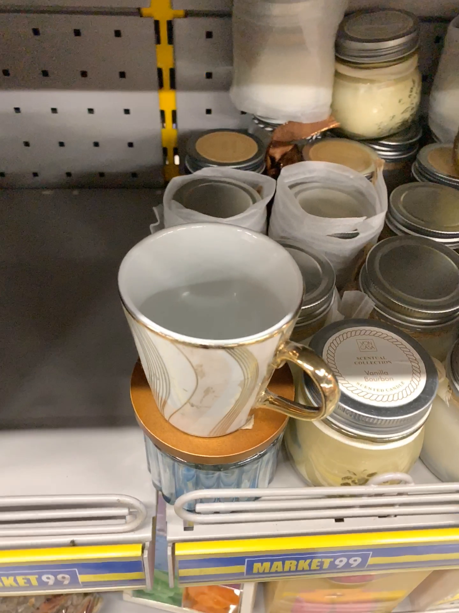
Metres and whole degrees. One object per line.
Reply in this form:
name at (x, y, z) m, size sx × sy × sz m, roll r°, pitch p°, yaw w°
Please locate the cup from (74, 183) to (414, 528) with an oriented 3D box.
cup at (0.003, 0.013, 0.183) m, size 0.090 × 0.070 × 0.070 m, roll 36°, pitch 54°, yaw 28°
